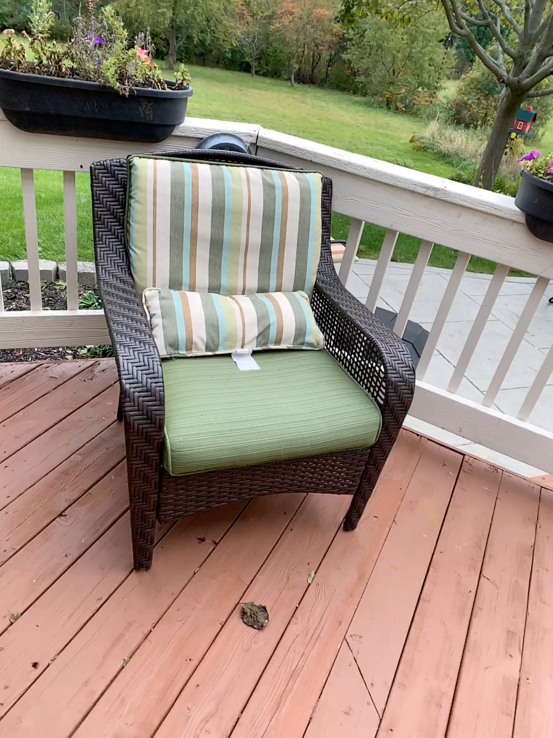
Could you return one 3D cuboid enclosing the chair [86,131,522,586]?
[{"bbox_3d":[-0.065,-0.100,1.588,0.811,0.824,0.863,-4,34,-22],"label":"chair"}]
